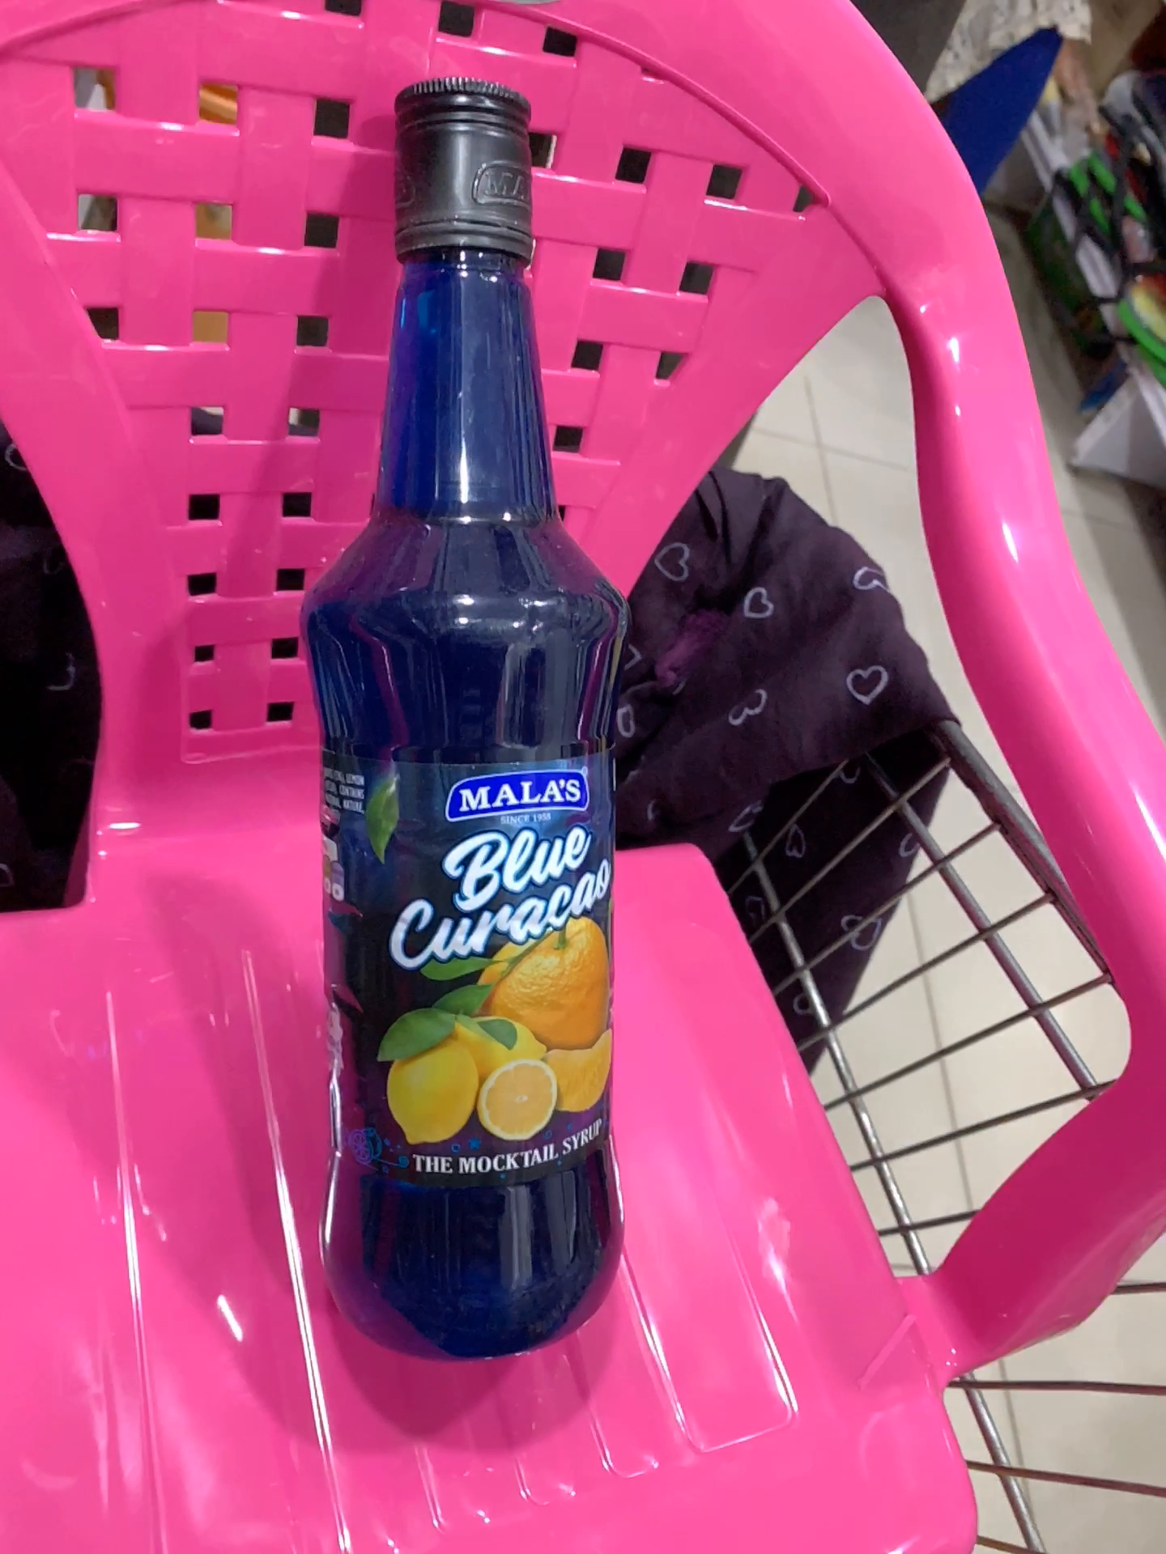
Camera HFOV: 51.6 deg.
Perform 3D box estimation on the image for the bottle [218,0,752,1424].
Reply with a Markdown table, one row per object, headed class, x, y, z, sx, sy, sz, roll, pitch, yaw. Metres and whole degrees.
| class | x | y | z | sx | sy | sz | roll | pitch | yaw |
| --- | --- | --- | --- | --- | --- | --- | --- | --- | --- |
| bottle | -0.026 | -0.011 | 0.266 | 0.080 | 0.270 | 0.080 | 1 | 14 | 0 |
